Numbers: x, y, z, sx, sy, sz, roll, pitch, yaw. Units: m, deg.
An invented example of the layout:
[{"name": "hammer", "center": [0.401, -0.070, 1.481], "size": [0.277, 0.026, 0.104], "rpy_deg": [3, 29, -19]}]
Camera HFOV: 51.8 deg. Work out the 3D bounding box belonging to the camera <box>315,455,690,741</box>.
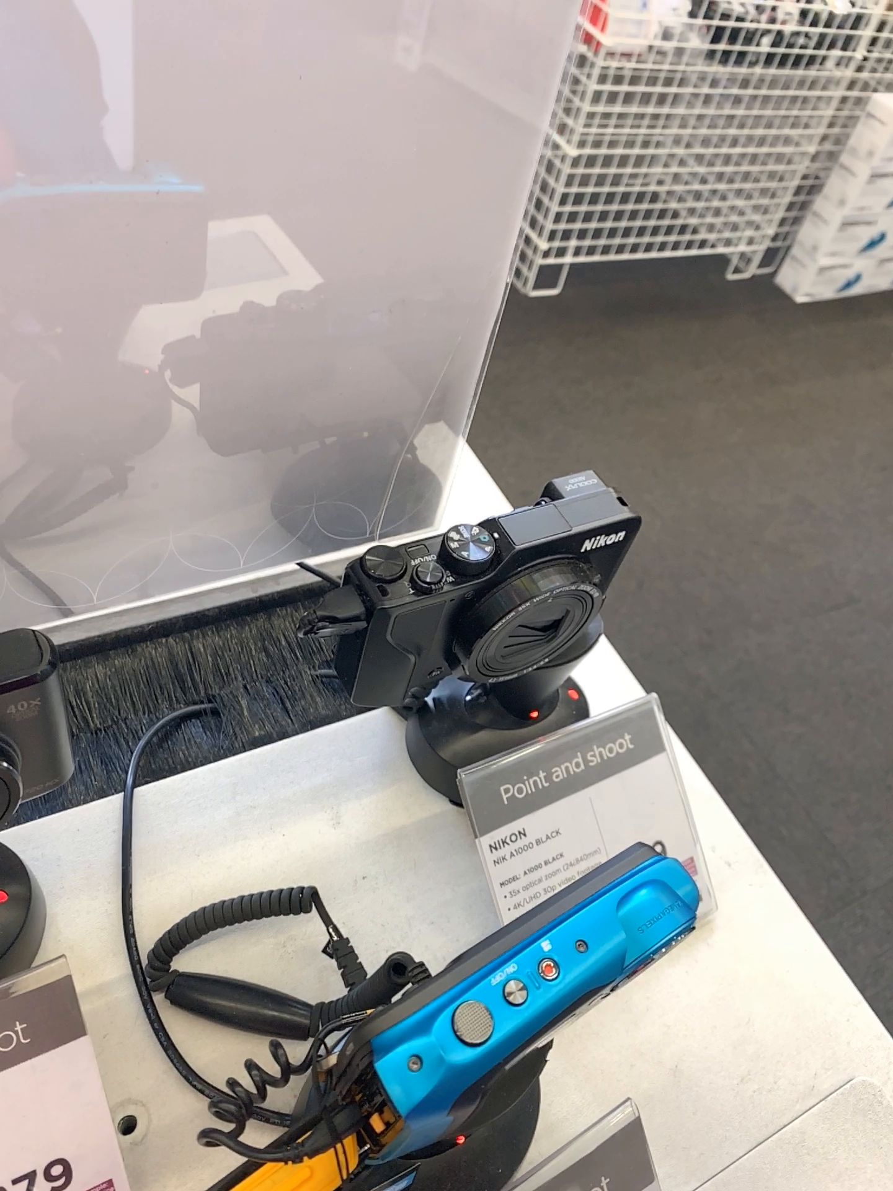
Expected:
[{"name": "camera", "center": [0.019, 0.000, 0.331], "size": [0.120, 0.079, 0.030], "rpy_deg": [-16, 56, -28]}]
